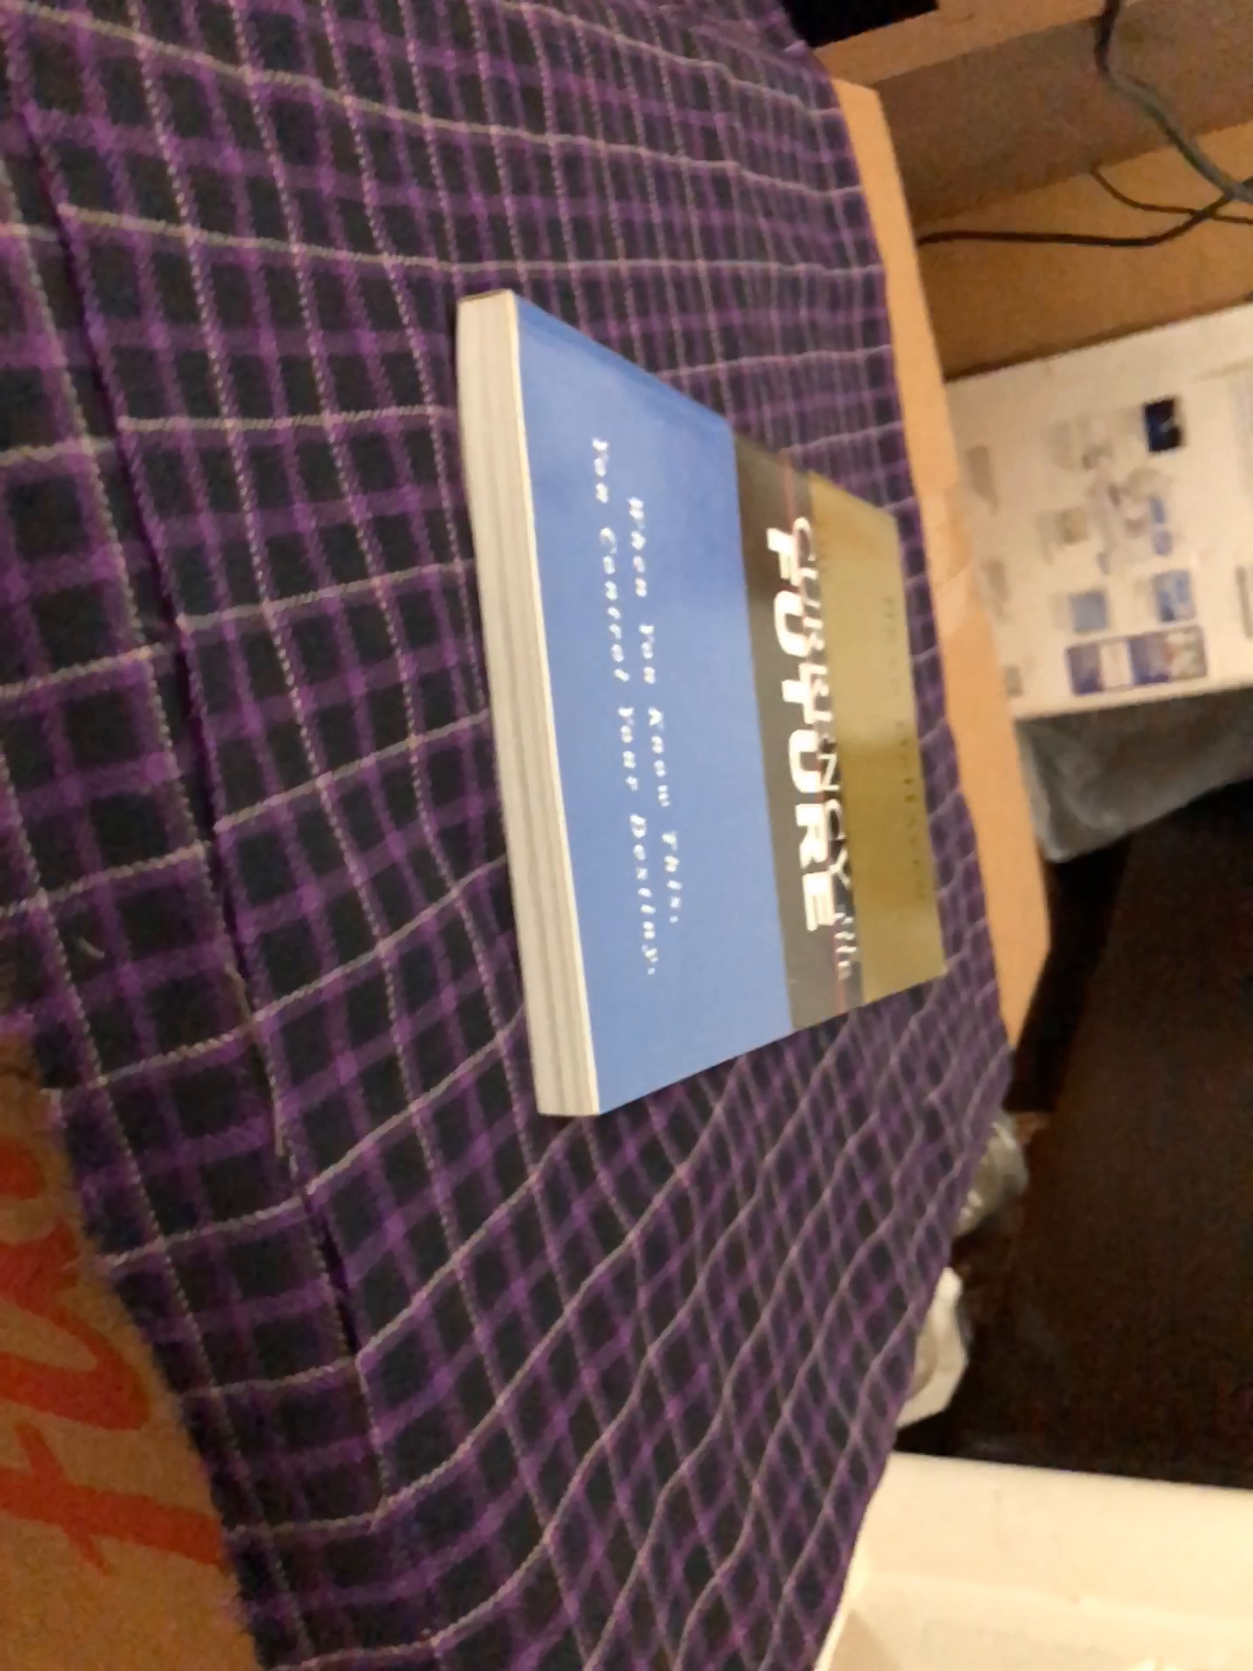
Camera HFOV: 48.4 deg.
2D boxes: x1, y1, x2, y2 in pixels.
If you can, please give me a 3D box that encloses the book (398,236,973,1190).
[{"bbox_3d":[0.032,-0.021,0.319,0.221,0.020,0.150,-2,85,-62],"label":"book"}]
